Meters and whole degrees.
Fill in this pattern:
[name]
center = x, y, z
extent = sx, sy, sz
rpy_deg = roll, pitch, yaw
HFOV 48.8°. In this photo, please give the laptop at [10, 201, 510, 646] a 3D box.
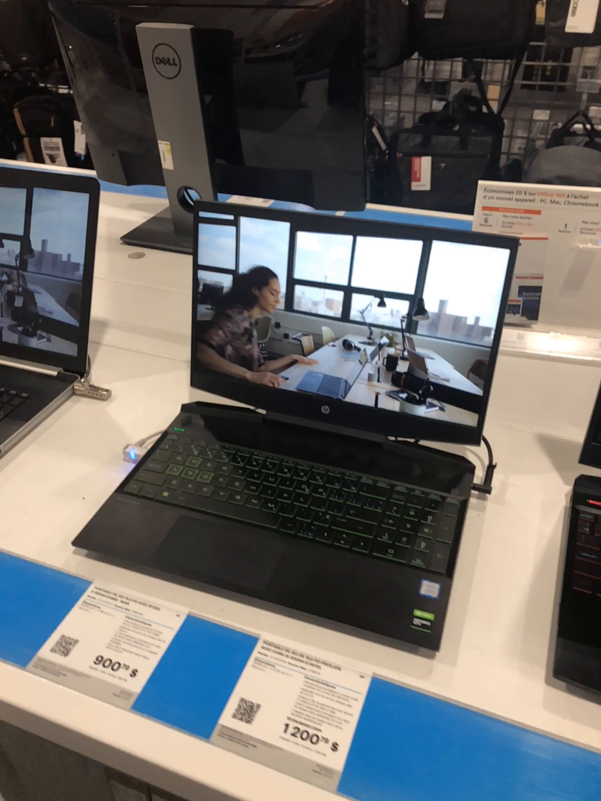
[laptop]
center = -0.005, -0.011, 0.656
extent = 0.355, 0.232, 0.317
rpy_deg = 11, 36, 15
